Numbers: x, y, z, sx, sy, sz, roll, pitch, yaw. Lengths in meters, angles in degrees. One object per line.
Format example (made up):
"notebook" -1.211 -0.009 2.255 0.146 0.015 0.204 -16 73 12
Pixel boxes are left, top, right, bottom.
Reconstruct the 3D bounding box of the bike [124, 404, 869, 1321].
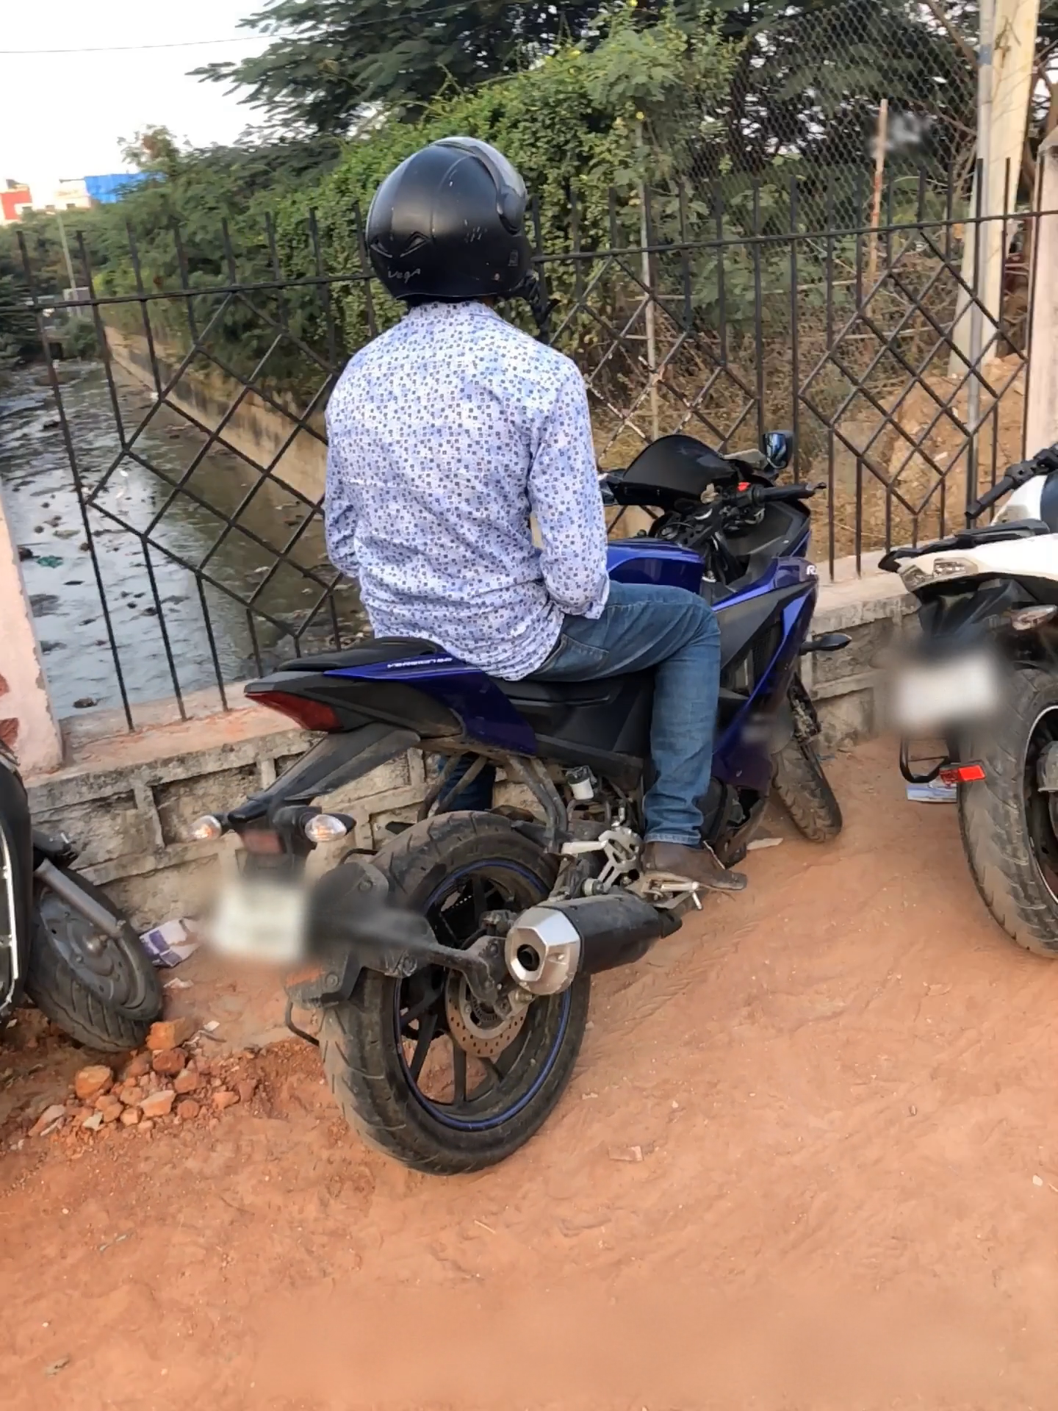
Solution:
"bike" 0.175 0.038 2.542 0.731 0.995 1.954 5 25 27
